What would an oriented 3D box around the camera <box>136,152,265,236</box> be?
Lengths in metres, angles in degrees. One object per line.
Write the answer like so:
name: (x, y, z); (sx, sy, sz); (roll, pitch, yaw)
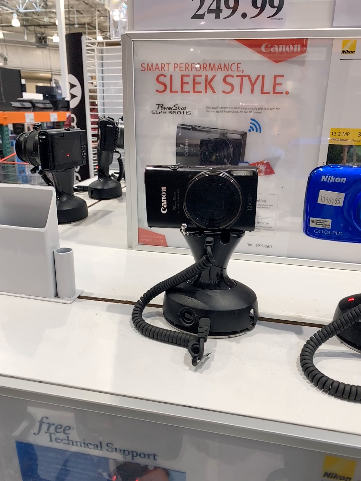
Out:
camera: (0.016, -0.041, 0.316); (0.100, 0.060, 0.040); (3, 18, 6)
